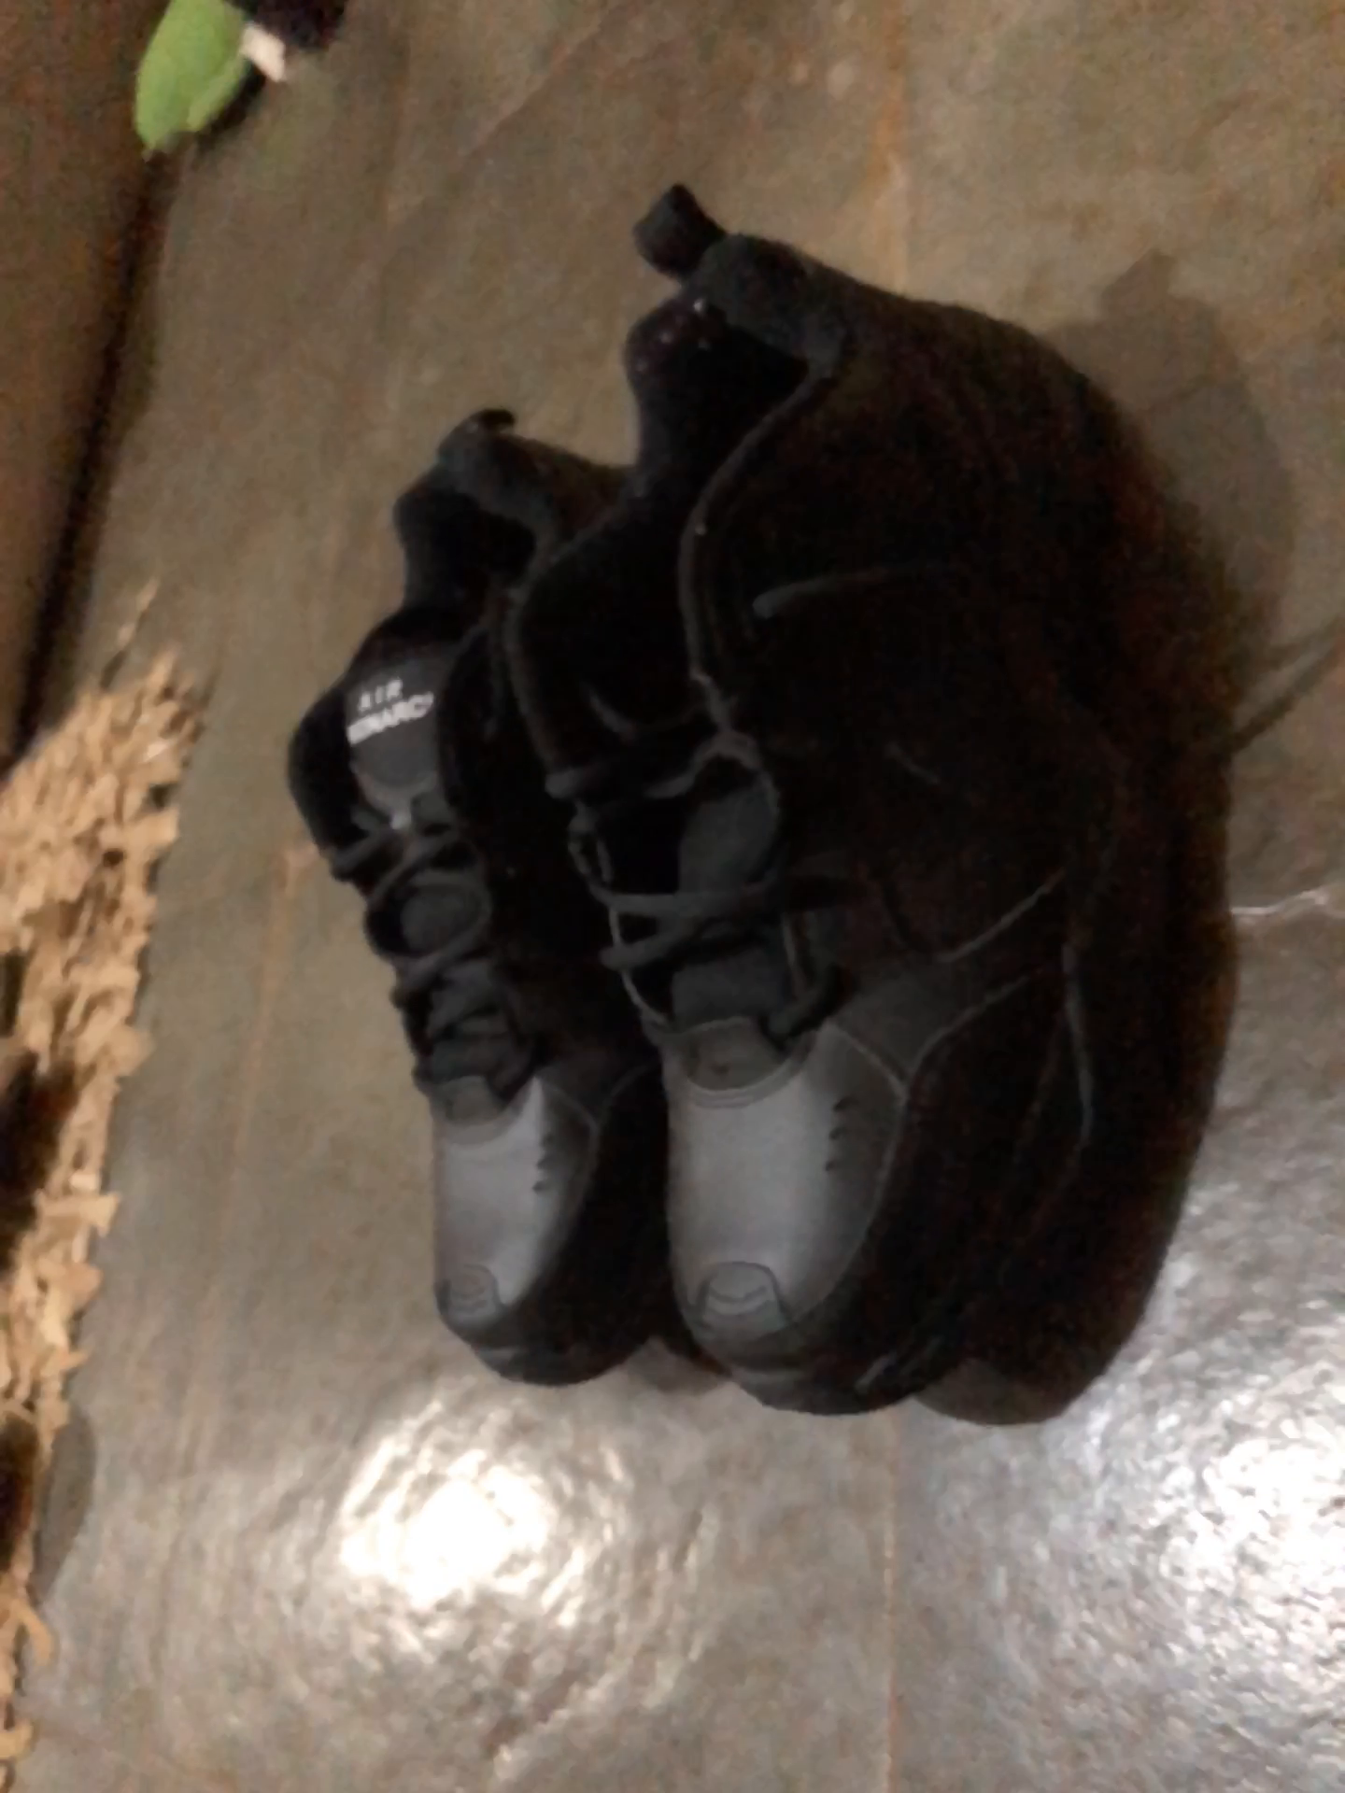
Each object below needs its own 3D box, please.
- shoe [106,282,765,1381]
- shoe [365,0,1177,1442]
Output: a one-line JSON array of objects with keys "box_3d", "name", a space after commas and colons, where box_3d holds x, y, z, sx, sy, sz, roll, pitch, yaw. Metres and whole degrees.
[{"box_3d": [-0.061, -0.010, 0.440, 0.120, 0.109, 0.281, -19, 60, 45], "name": "shoe"}, {"box_3d": [0.029, -0.039, 0.352, 0.120, 0.109, 0.301, -17, 61, 46], "name": "shoe"}]
